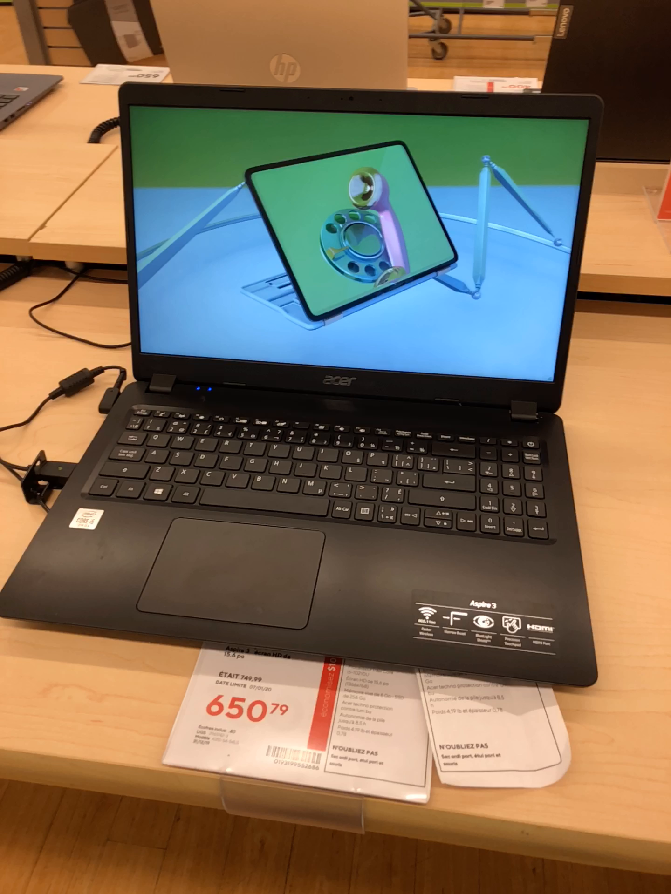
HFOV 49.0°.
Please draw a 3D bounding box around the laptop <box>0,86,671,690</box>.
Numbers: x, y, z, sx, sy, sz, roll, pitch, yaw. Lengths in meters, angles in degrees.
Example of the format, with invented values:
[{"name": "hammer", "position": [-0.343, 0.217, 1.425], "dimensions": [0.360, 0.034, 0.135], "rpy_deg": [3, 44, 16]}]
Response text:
[{"name": "laptop", "position": [-0.011, -0.069, 0.483], "dimensions": [0.354, 0.210, 0.329], "rpy_deg": [6, 42, 7]}]
